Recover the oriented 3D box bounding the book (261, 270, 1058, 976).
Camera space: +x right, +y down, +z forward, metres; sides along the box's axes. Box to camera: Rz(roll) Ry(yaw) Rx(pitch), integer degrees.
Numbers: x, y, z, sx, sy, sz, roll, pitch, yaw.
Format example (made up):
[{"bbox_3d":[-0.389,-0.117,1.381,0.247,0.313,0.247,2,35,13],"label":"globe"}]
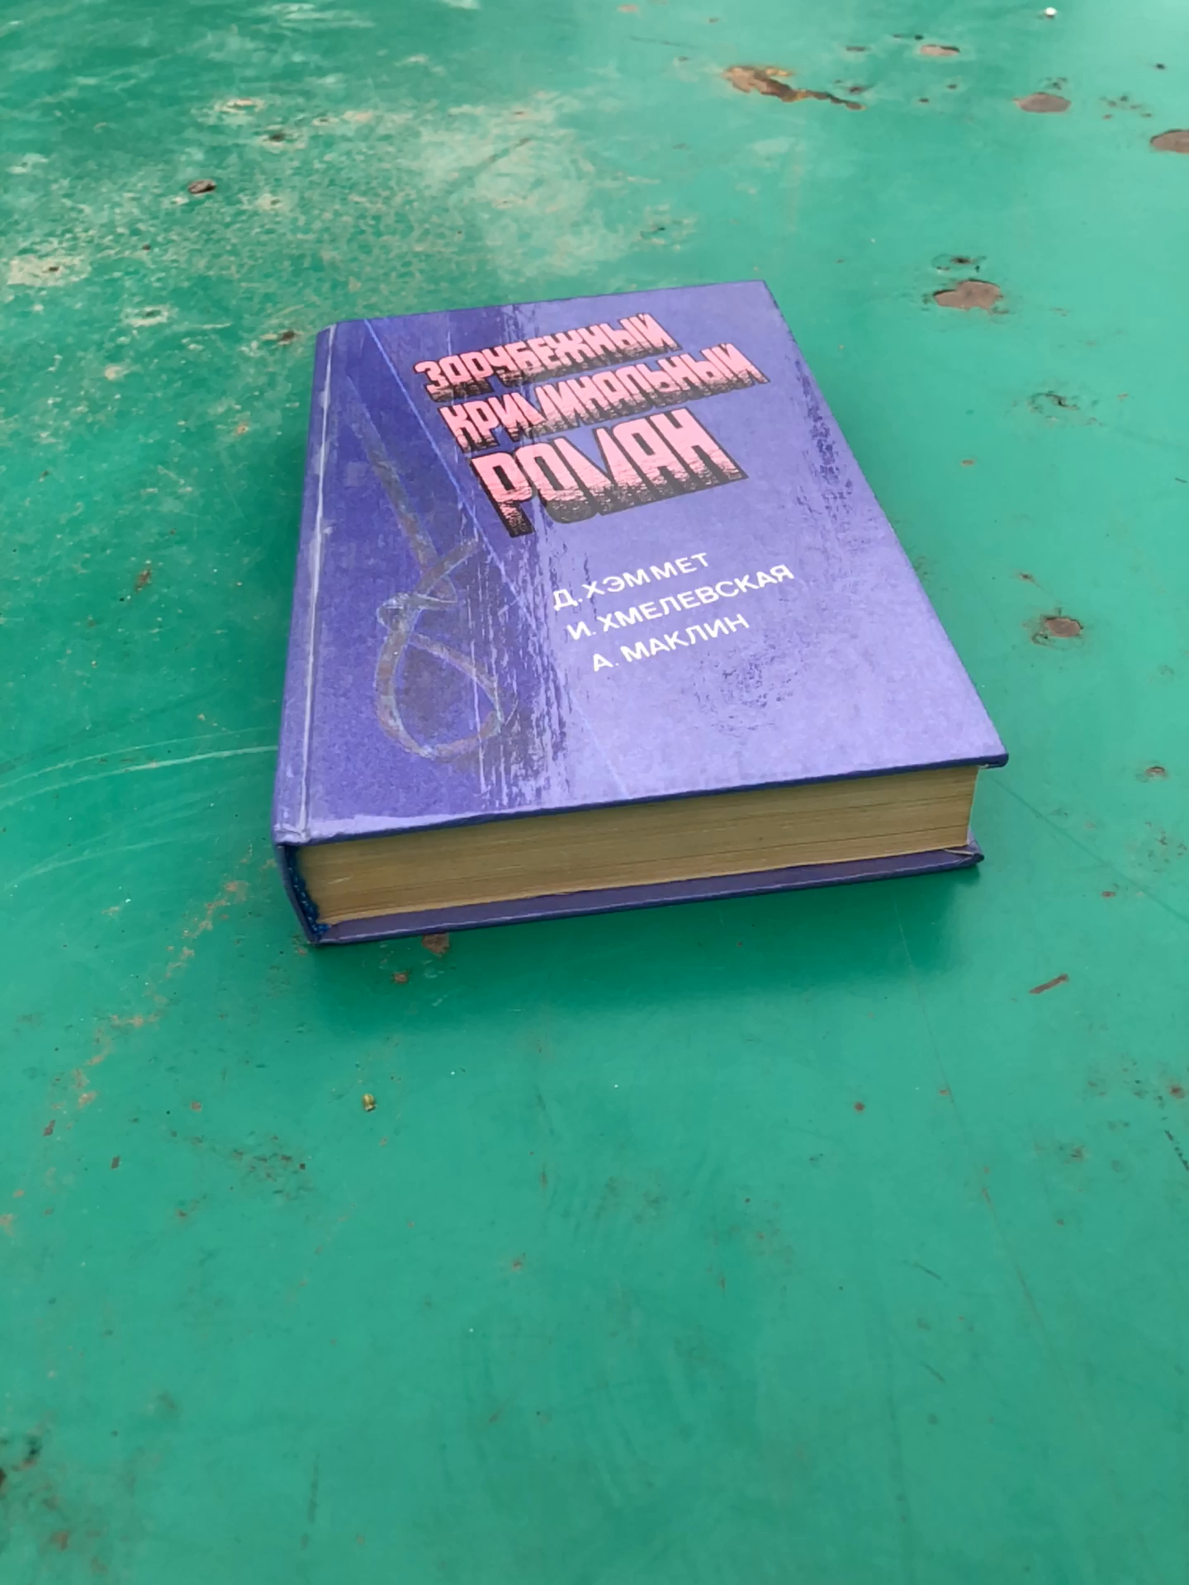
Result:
[{"bbox_3d":[0.000,-0.058,0.308,0.137,0.030,0.209,-7,45,-3],"label":"book"}]
